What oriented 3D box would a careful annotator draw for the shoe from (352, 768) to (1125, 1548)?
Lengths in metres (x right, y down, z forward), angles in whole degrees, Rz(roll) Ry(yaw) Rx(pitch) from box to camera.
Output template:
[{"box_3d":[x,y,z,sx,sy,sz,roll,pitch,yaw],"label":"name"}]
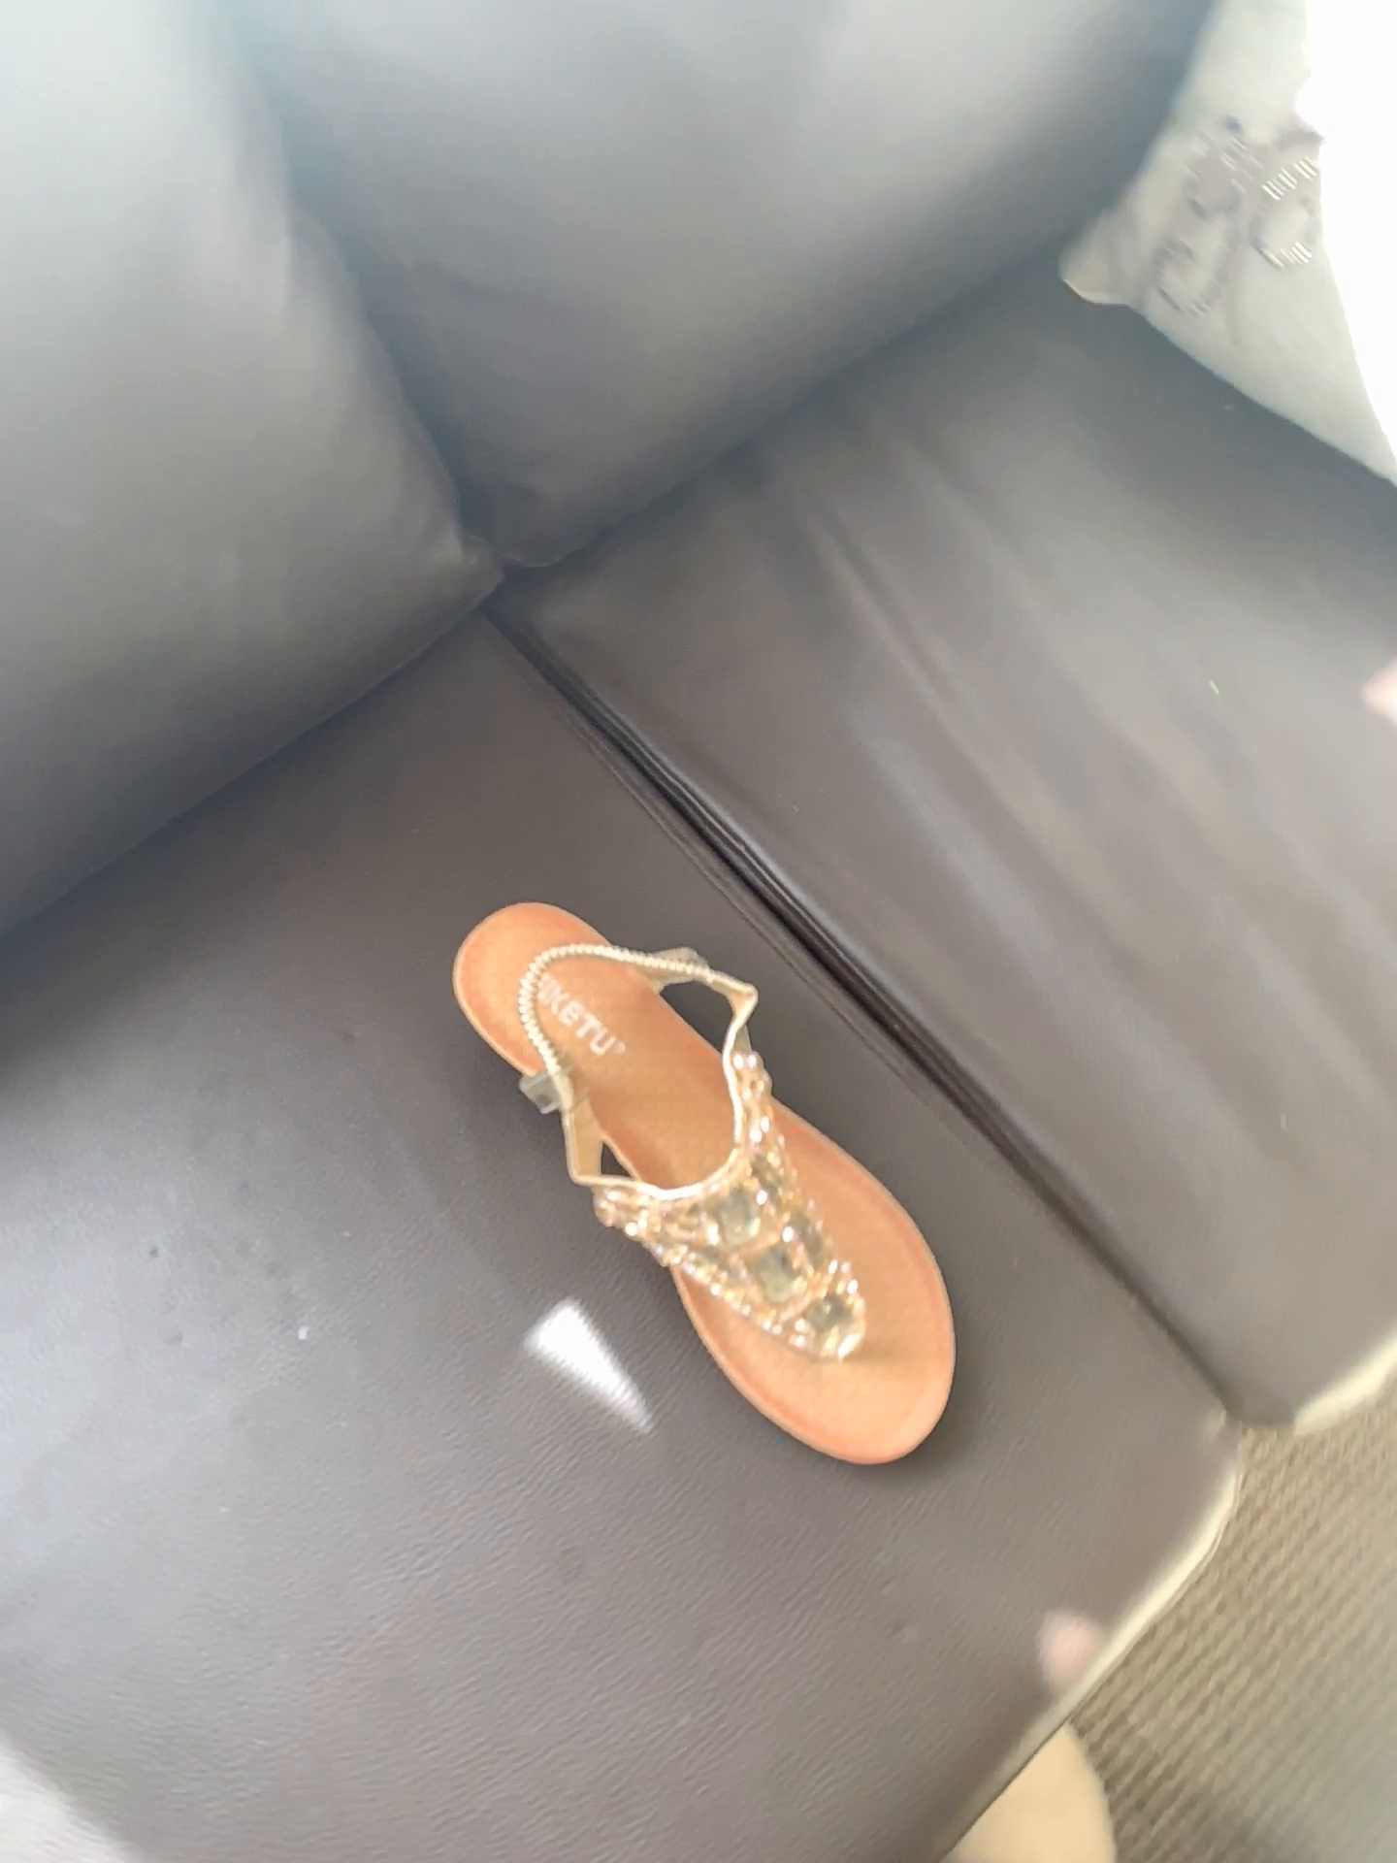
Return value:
[{"box_3d":[0.006,0.088,0.541,0.100,0.139,0.271,-41,75,-16],"label":"shoe"}]
